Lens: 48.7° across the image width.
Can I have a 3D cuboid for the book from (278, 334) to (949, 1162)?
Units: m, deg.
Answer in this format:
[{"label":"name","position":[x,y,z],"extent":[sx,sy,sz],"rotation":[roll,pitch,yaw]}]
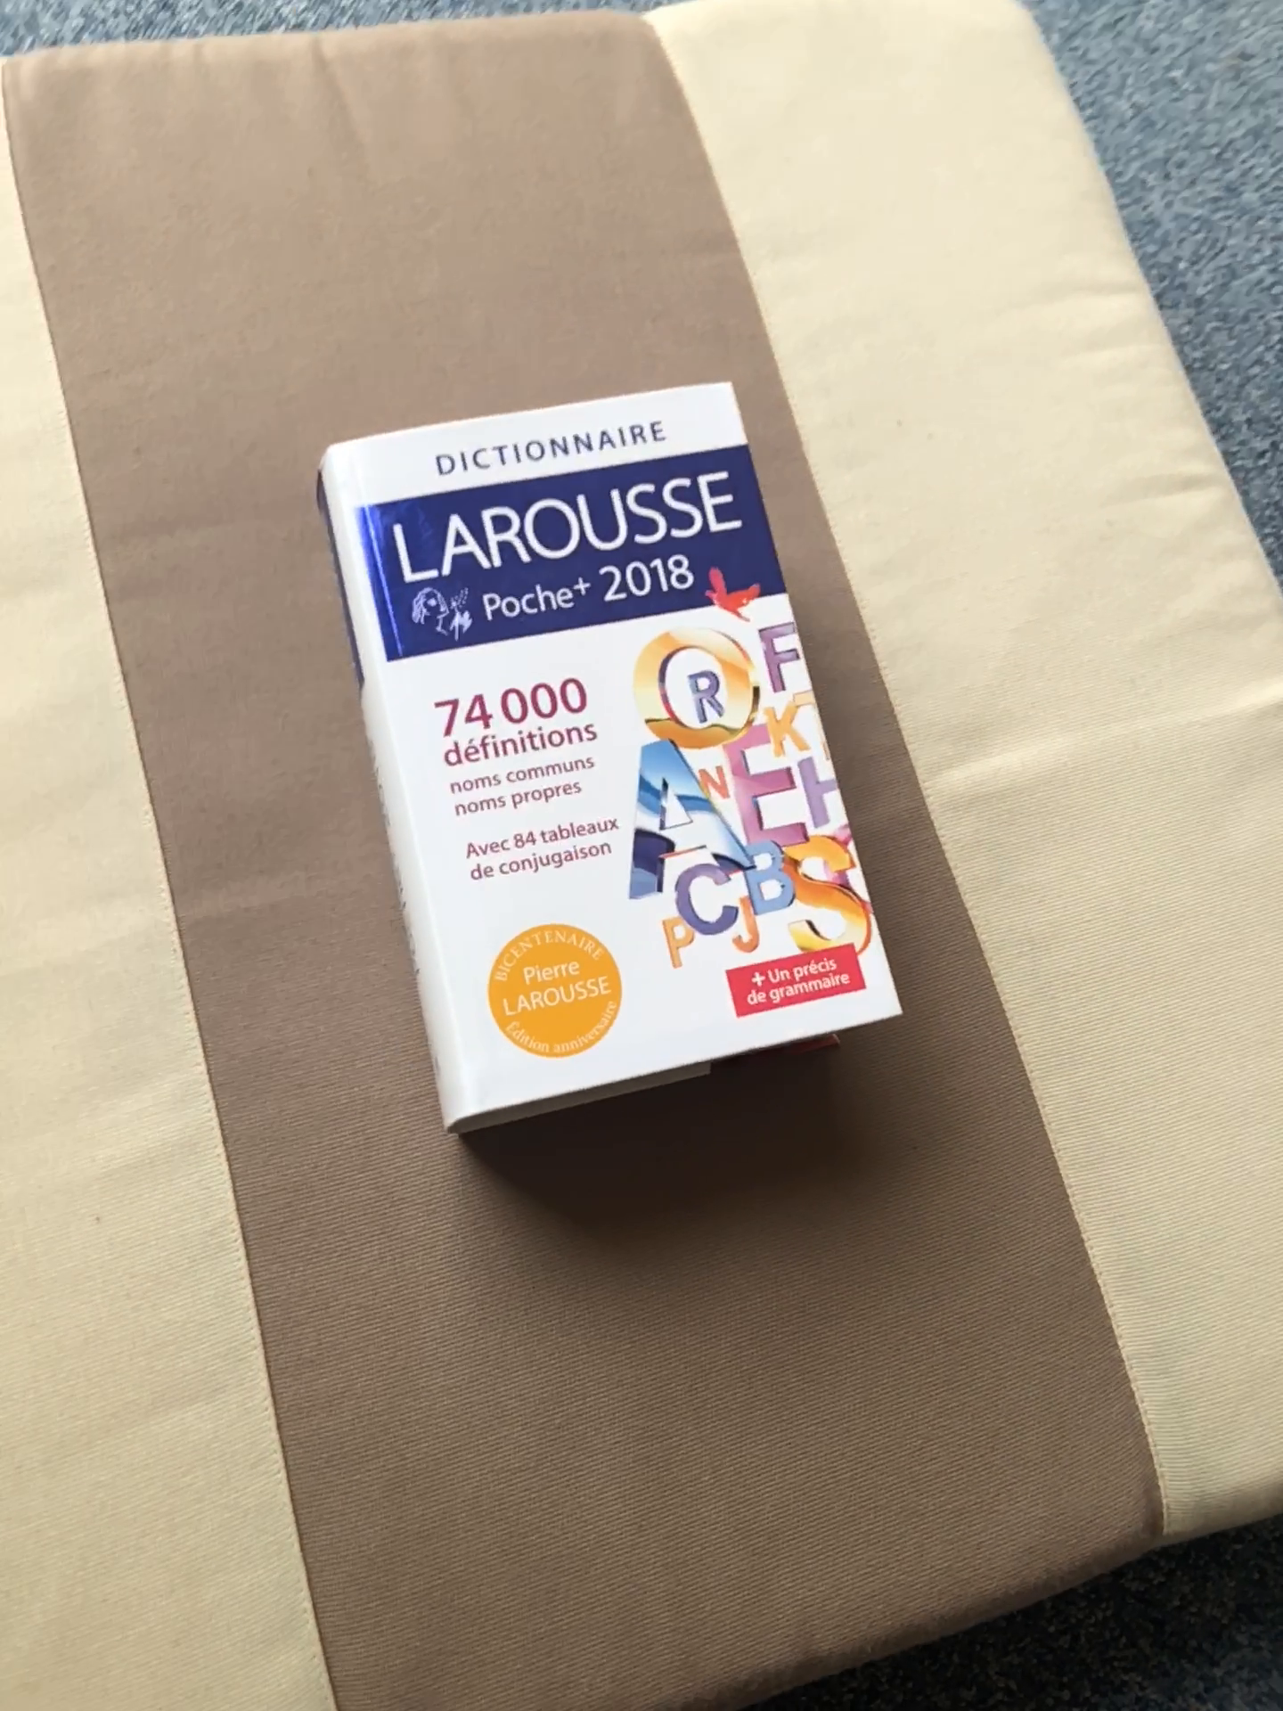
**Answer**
[{"label":"book","position":[-0.014,-0.032,0.390],"extent":[0.130,0.060,0.200],"rotation":[-11,76,-12]}]
